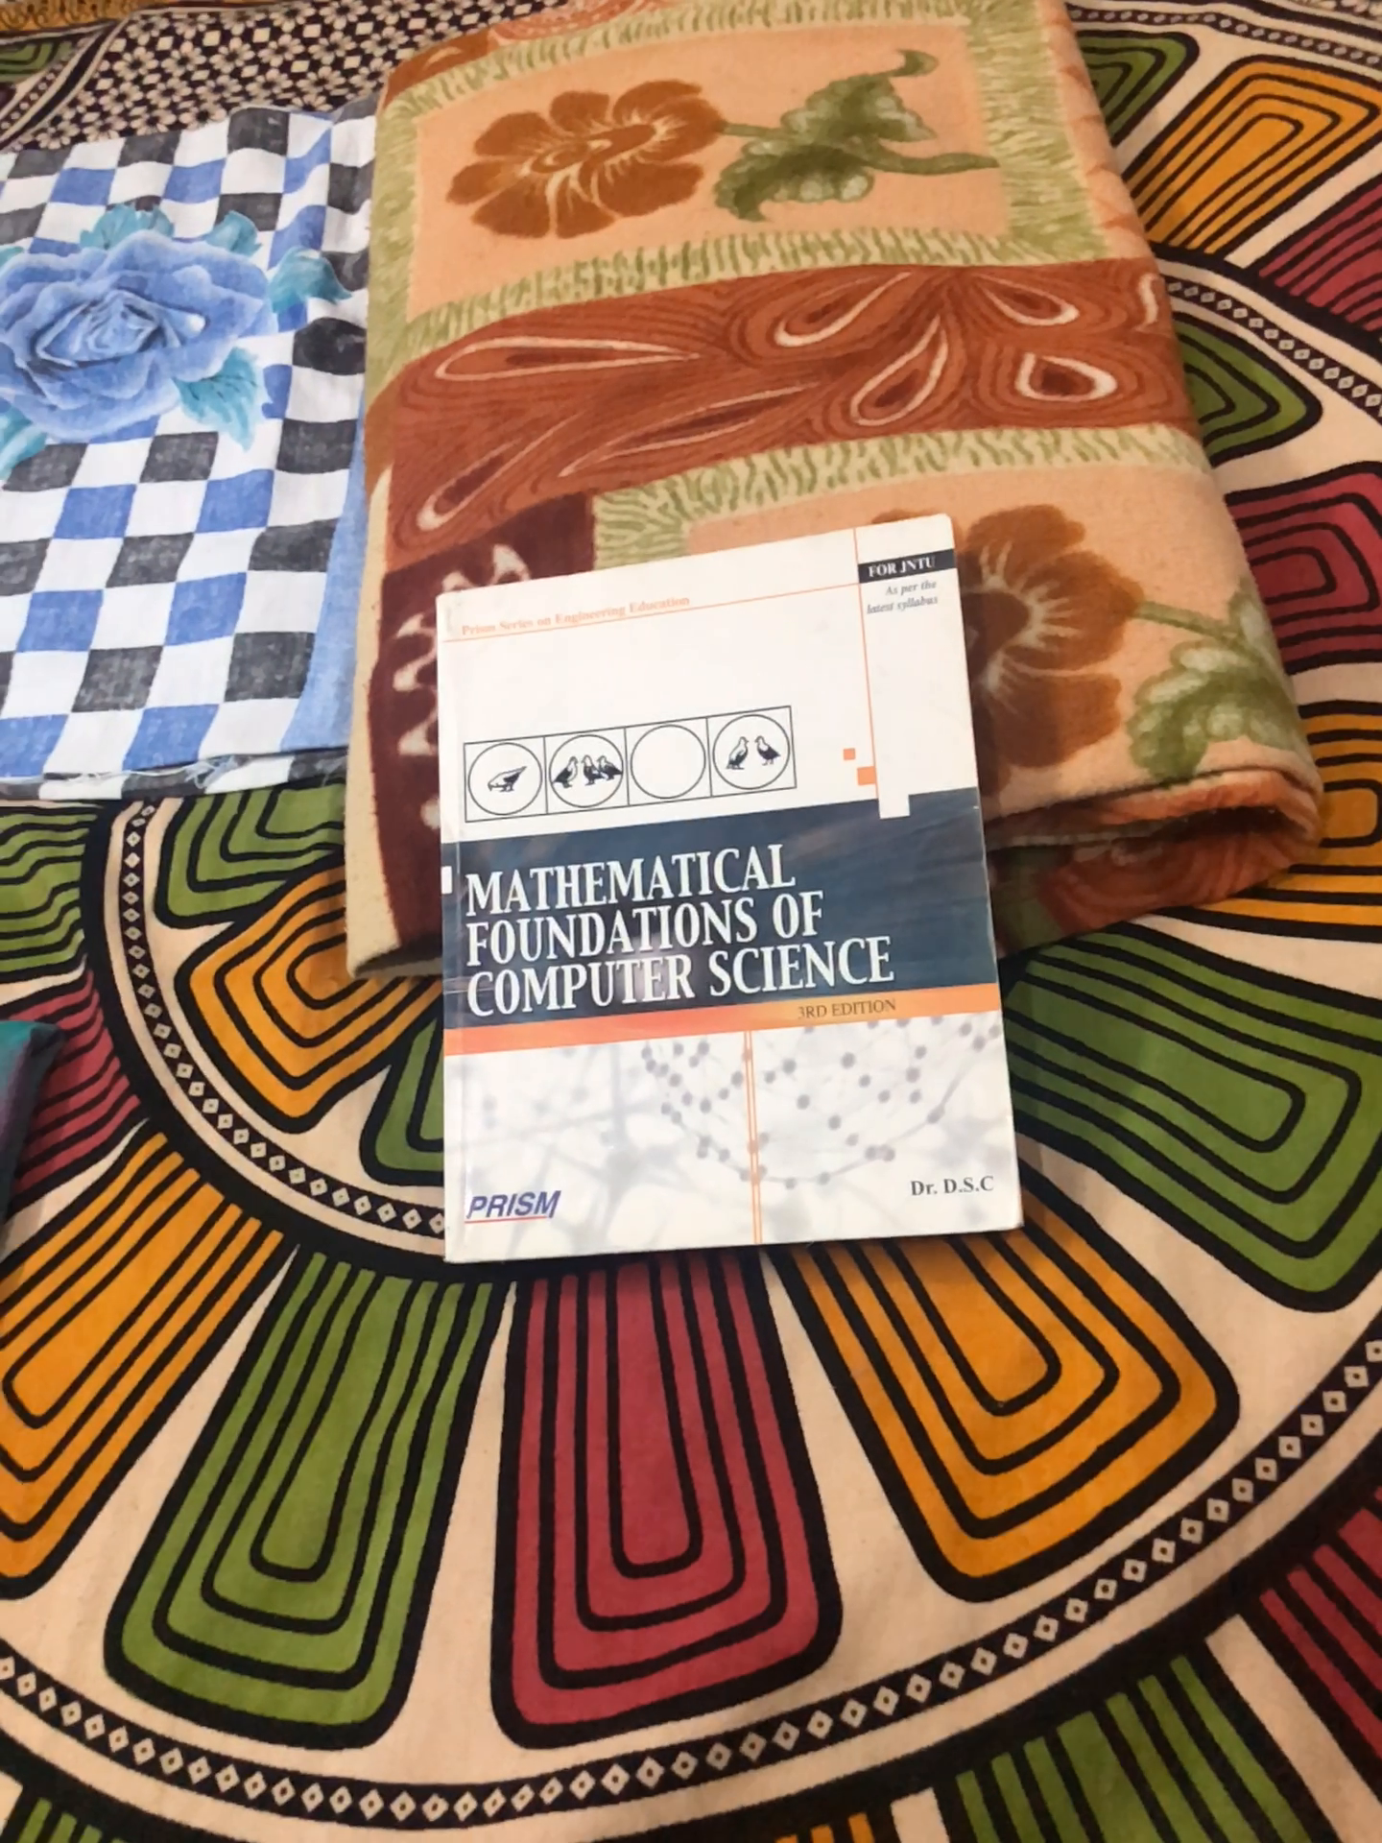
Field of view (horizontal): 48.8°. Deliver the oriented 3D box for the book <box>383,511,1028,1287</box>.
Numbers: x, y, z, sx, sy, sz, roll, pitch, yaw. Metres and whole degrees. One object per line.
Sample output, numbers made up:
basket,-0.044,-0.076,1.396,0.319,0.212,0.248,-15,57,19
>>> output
book,0.001,-0.004,0.502,0.190,0.050,0.230,-6,78,10
